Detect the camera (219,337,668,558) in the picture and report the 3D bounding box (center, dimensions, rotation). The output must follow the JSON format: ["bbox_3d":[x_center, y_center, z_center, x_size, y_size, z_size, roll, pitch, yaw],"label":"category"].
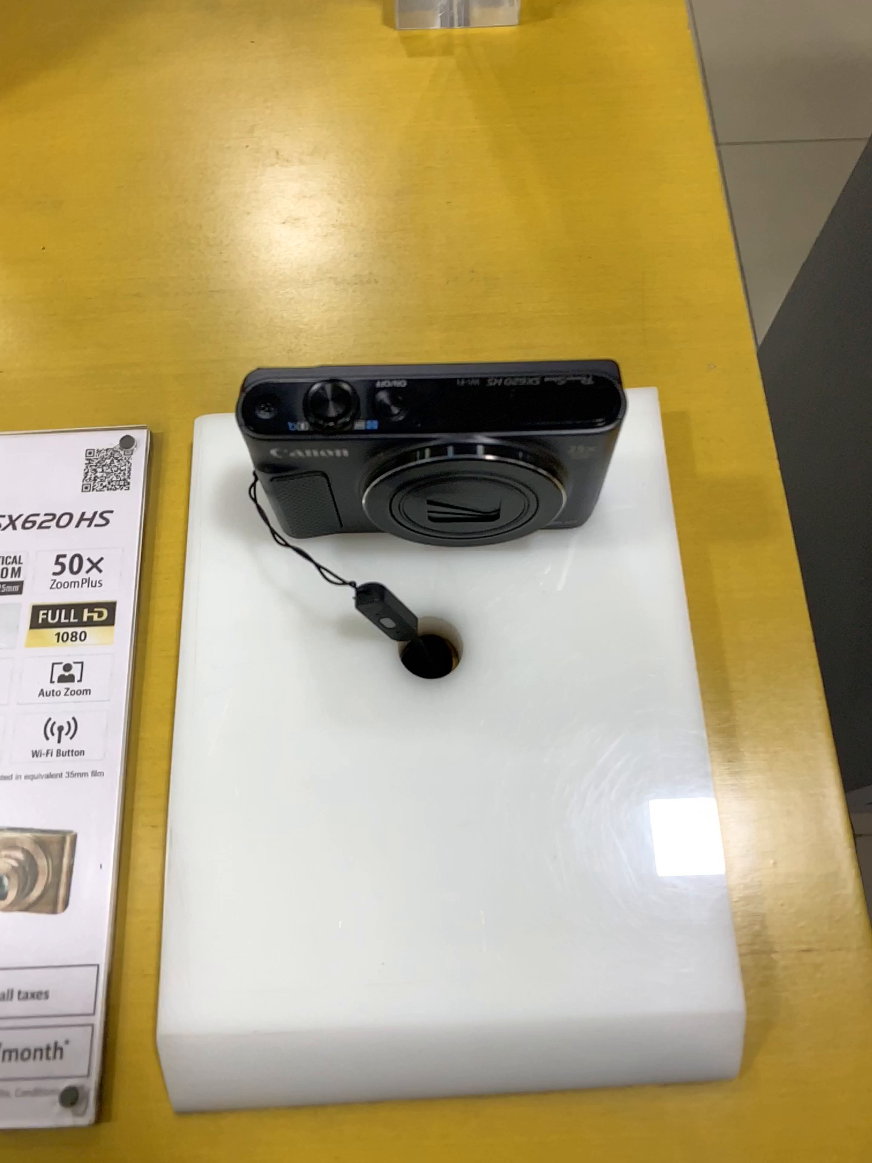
[{"bbox_3d":[0.002,-0.032,0.233,0.100,0.060,0.030,0,69,1],"label":"camera"}]
